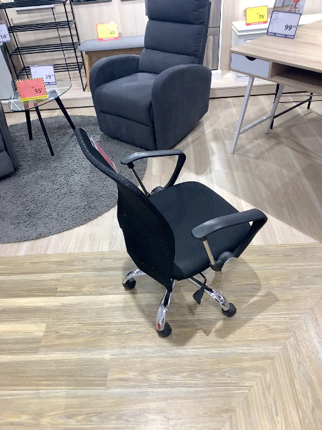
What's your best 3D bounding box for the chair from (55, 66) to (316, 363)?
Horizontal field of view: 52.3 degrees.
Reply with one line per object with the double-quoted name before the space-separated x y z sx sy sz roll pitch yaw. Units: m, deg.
"chair" 0.066 -0.016 1.359 0.601 0.865 0.643 -24 45 -20
